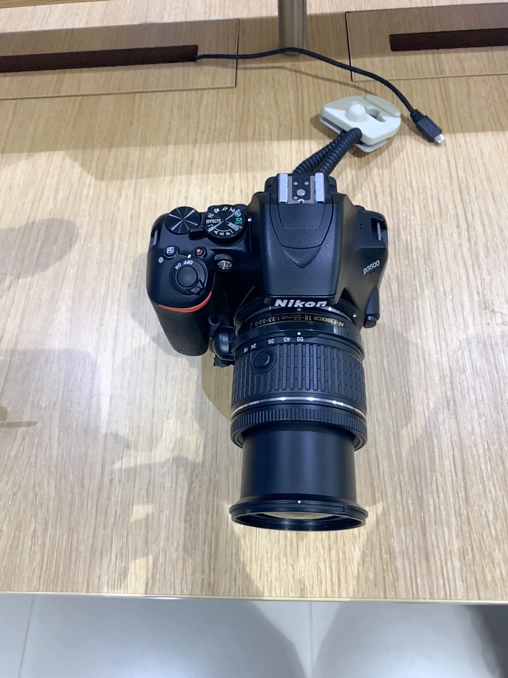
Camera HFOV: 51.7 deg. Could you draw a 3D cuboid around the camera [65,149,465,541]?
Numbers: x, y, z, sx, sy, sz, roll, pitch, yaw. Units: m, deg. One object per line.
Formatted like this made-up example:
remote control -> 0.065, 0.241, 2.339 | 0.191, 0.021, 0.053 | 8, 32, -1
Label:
camera -> 0.006, 0.010, 0.226 | 0.115, 0.100, 0.136 | -2, 64, 4
